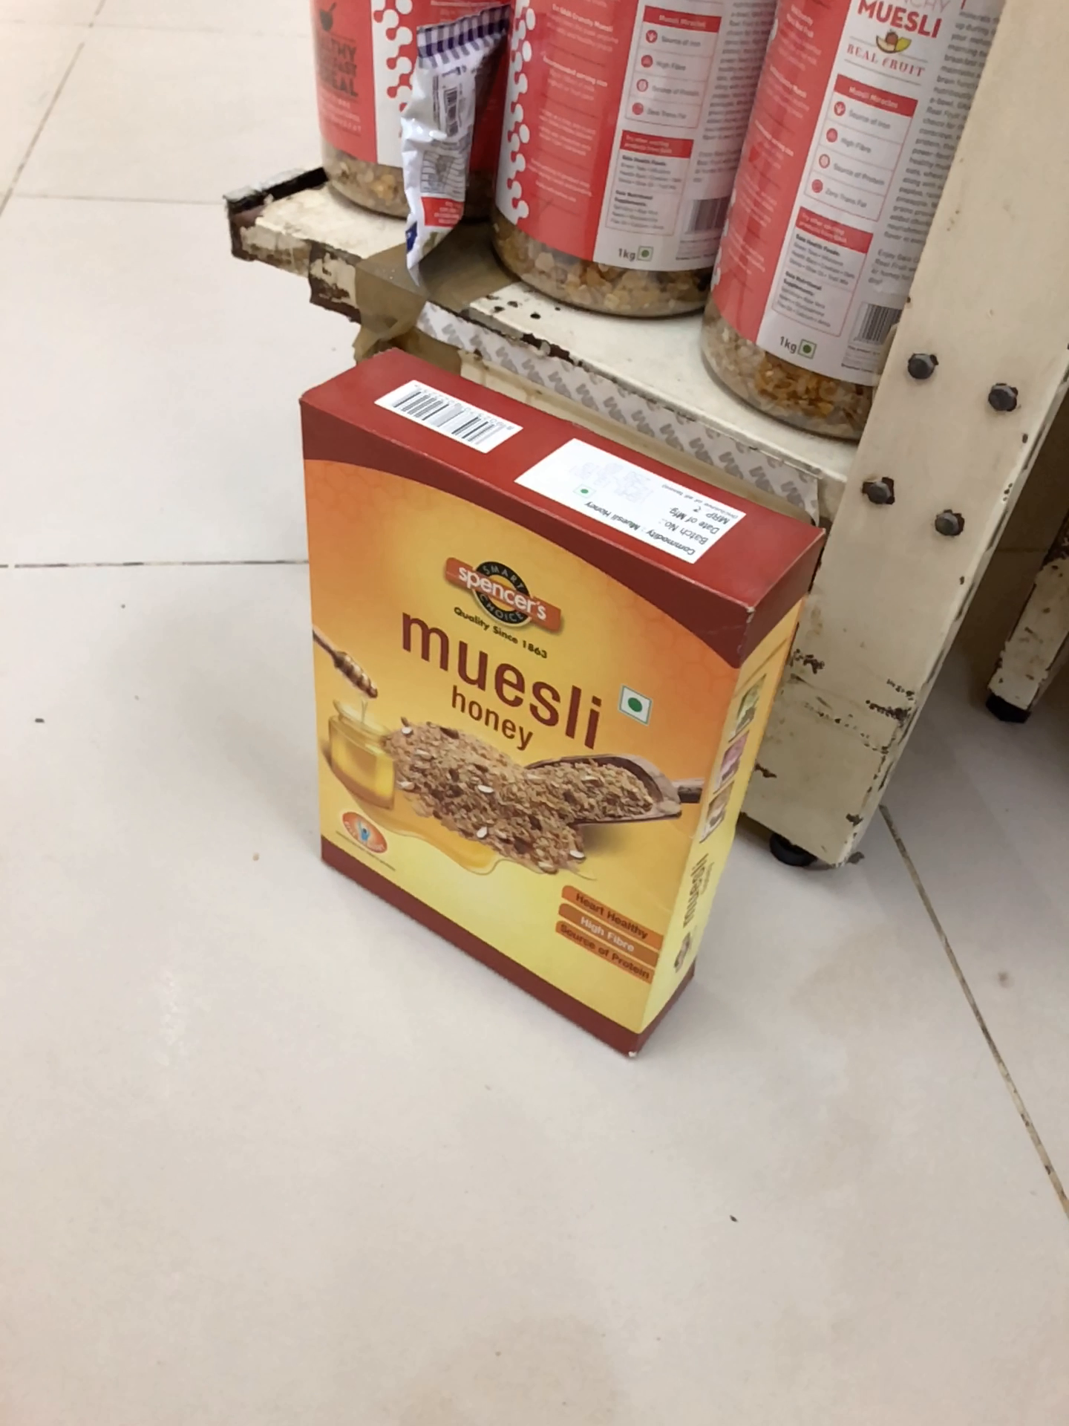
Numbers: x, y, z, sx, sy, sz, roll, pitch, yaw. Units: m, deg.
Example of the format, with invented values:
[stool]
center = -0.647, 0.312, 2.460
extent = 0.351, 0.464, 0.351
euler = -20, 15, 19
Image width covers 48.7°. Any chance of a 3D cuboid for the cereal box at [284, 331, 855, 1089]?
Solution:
[cereal box]
center = -0.002, 0.009, 0.478
extent = 0.190, 0.258, 0.060
euler = 30, 48, 24
